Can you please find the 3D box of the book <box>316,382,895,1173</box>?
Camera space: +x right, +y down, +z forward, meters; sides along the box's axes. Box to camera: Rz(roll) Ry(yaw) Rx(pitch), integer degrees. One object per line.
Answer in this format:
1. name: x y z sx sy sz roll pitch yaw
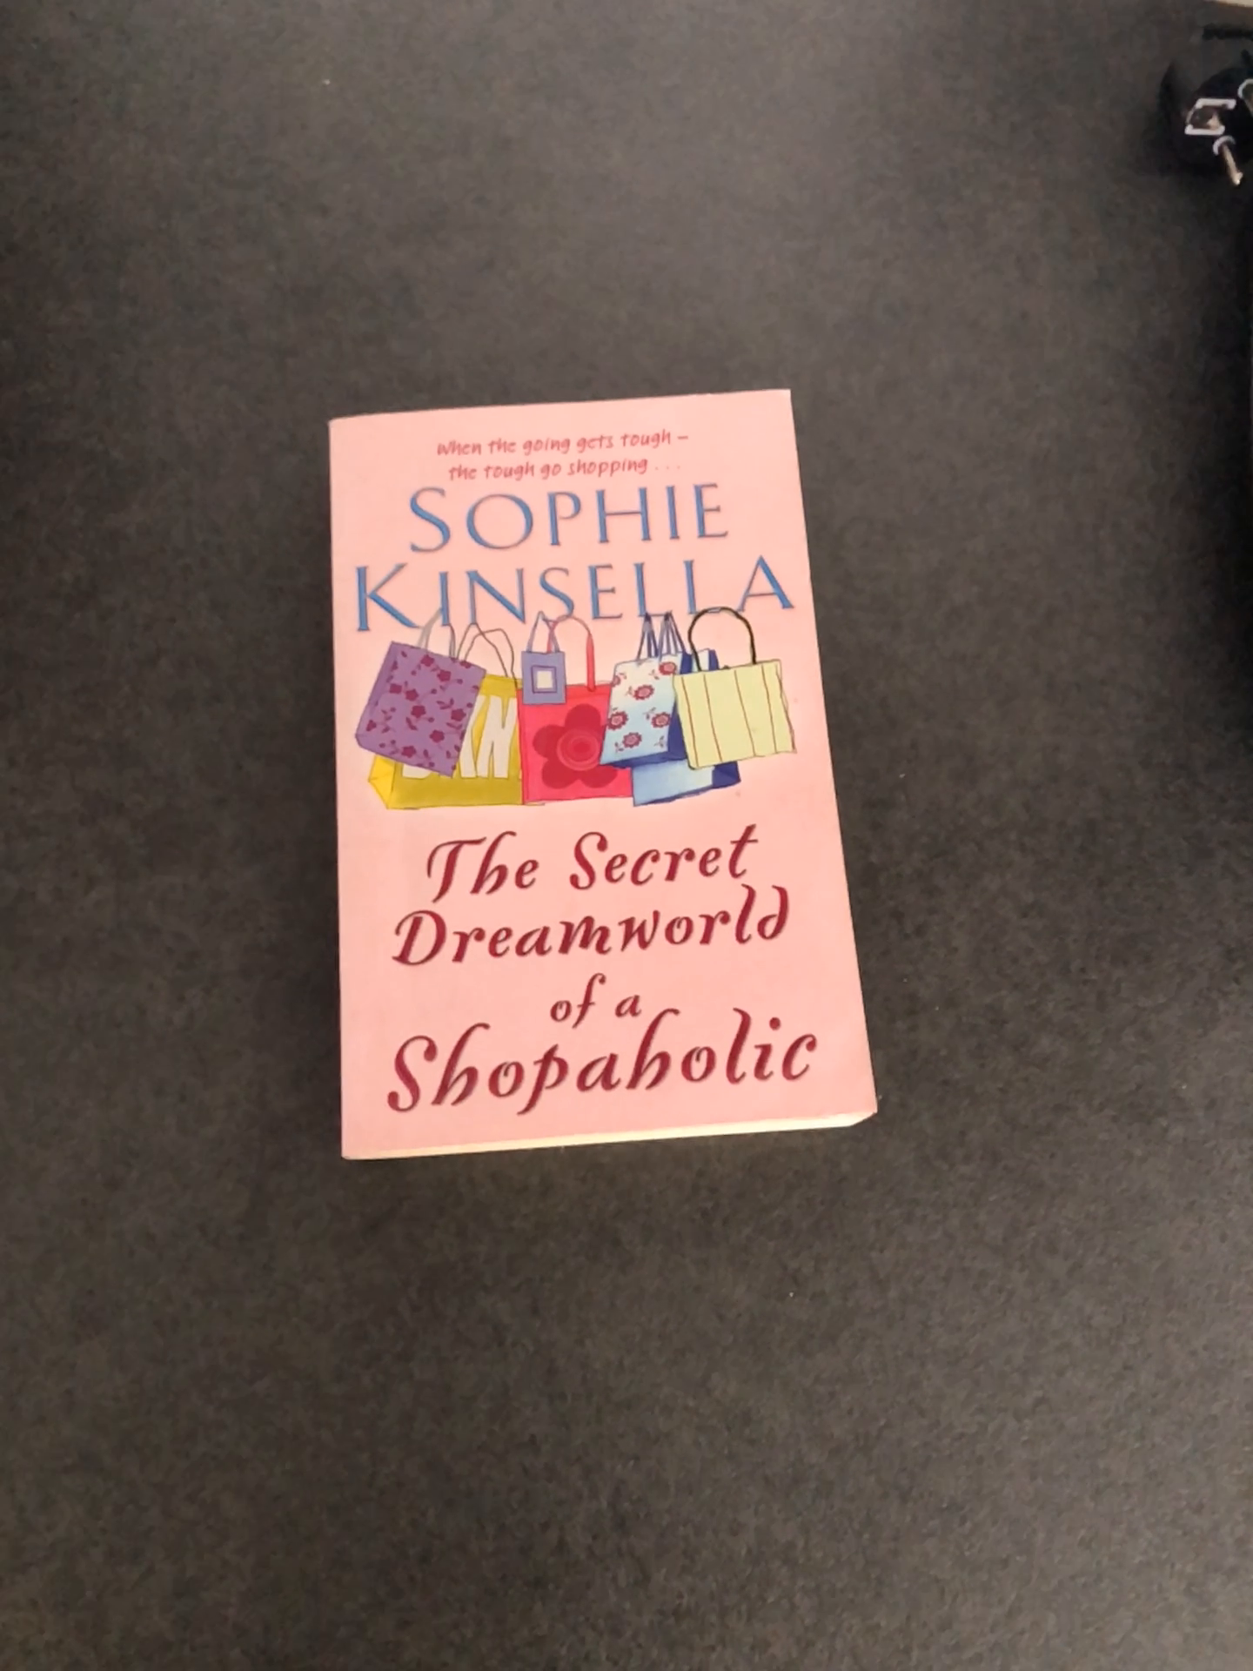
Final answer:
1. book: -0.011 -0.021 0.361 0.130 0.030 0.200 -4 74 -5
